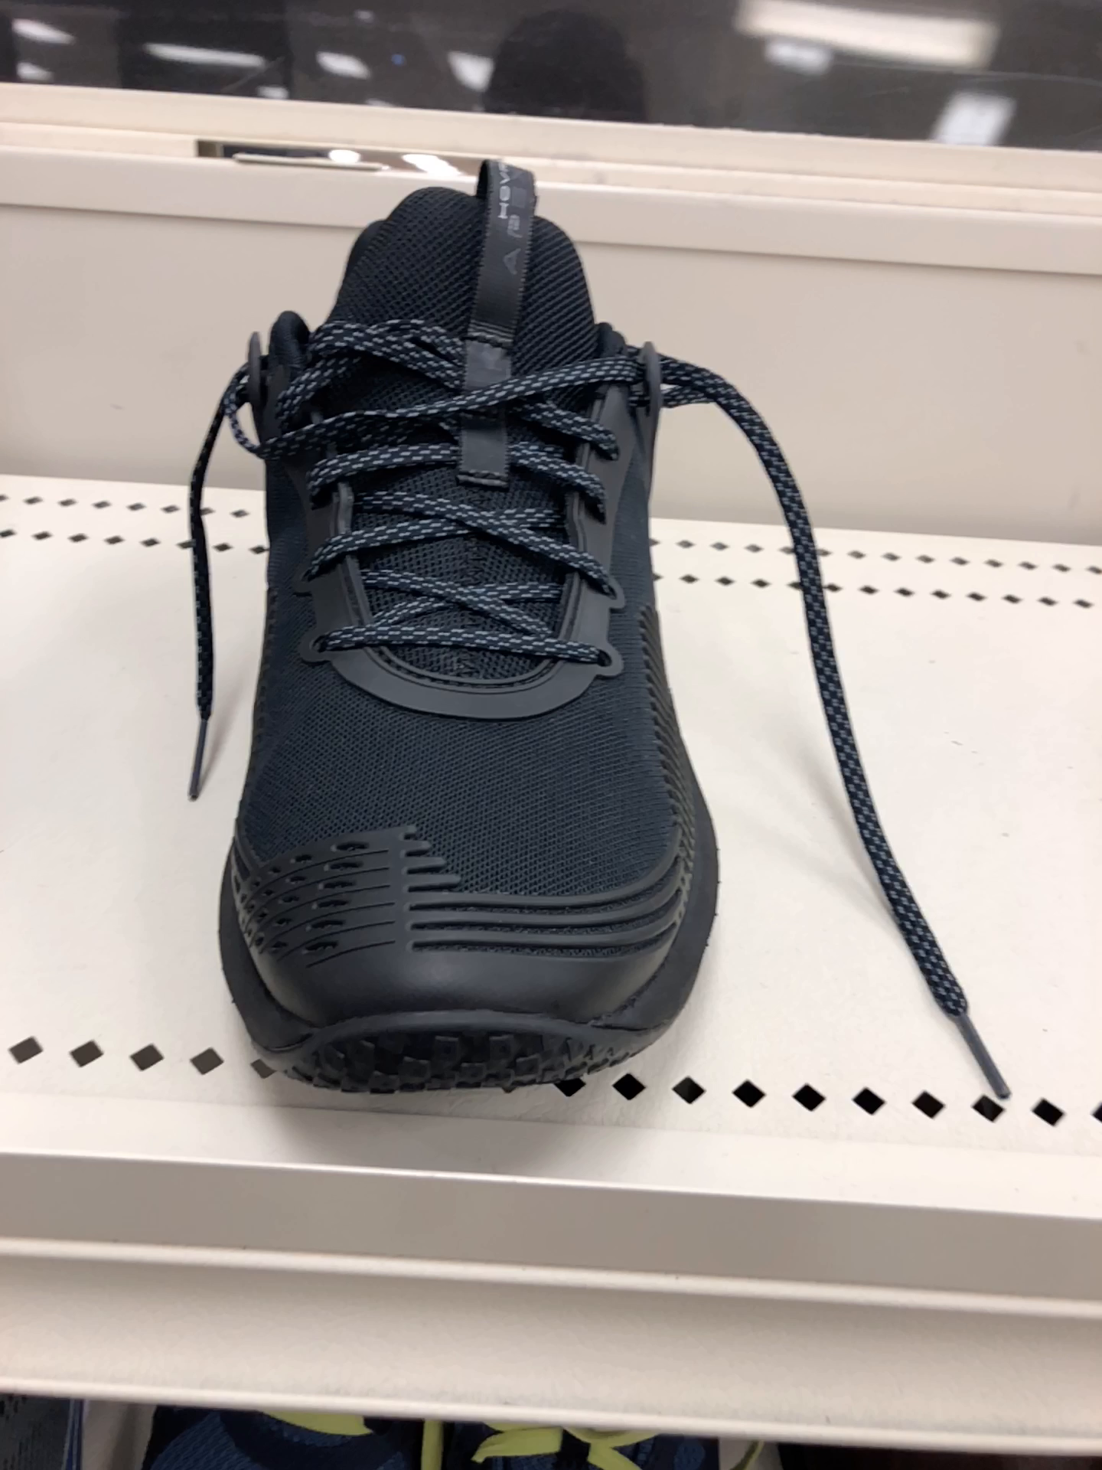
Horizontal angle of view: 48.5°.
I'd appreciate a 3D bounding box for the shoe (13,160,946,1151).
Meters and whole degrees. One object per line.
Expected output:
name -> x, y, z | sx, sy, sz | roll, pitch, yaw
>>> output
shoe -> -0.018, -0.070, 0.342 | 0.120, 0.129, 0.353 | 2, 29, -3
